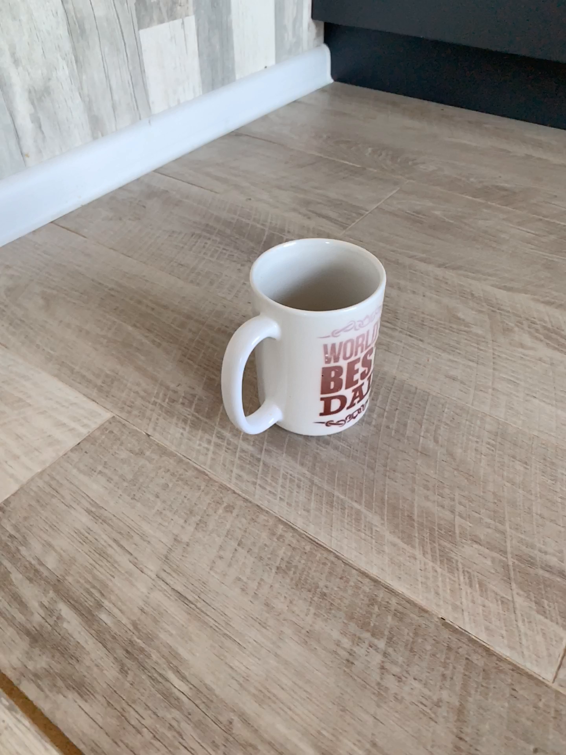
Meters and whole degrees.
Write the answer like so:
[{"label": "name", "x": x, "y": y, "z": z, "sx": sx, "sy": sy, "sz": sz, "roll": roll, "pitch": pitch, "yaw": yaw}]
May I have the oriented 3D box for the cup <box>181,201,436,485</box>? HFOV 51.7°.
[{"label": "cup", "x": 0.018, "y": -0.026, "z": 0.372, "sx": 0.080, "sy": 0.110, "sz": 0.130, "roll": 32, "pitch": 52, "yaw": 30}]
